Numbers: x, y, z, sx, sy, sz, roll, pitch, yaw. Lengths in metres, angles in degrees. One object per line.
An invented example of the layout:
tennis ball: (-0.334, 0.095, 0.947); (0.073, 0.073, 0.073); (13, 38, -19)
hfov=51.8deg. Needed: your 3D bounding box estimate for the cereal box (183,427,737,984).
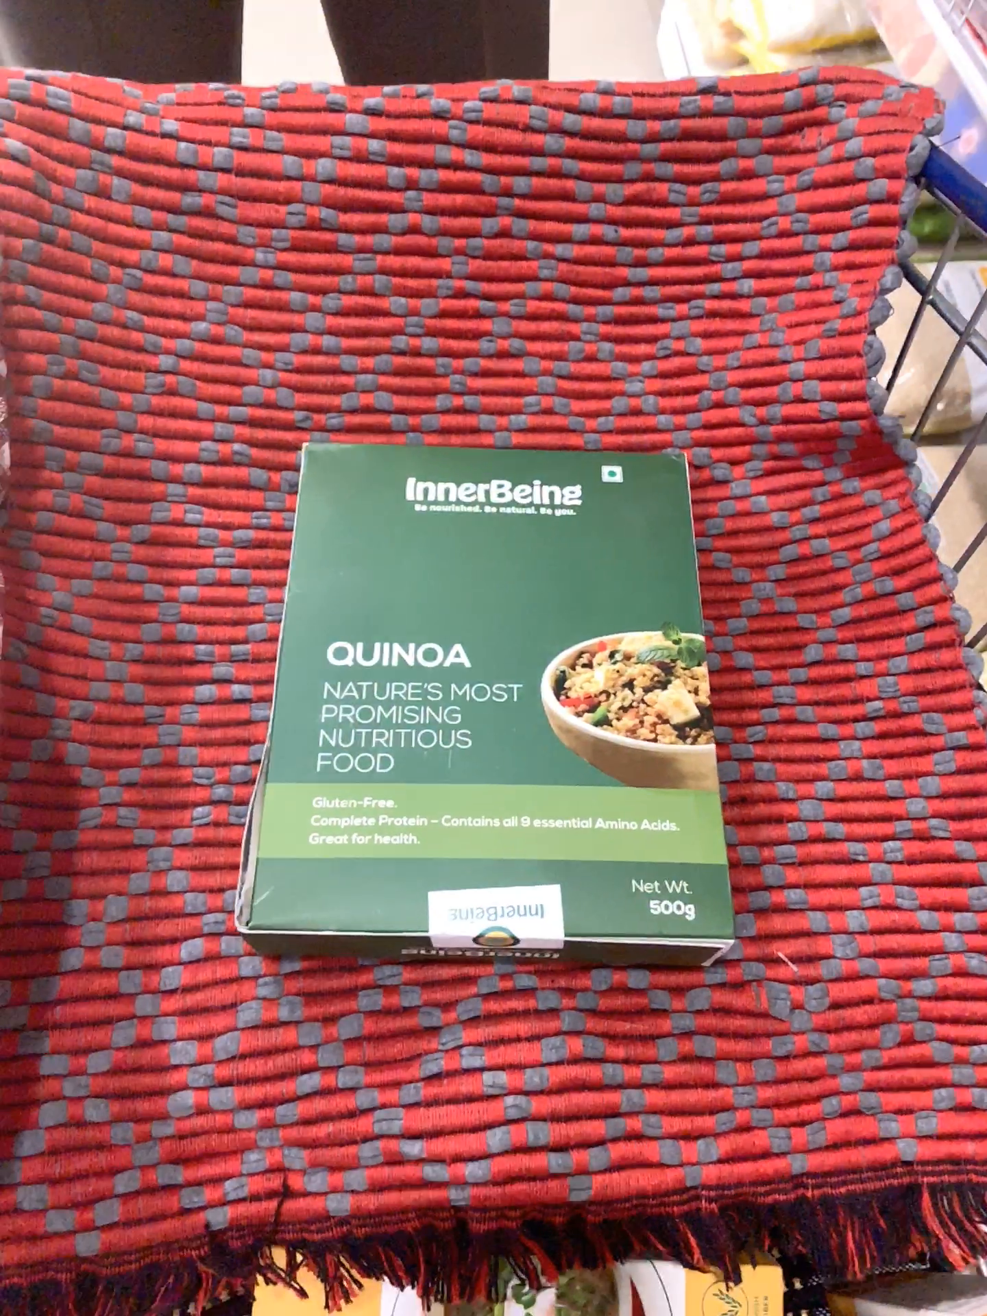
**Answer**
cereal box: (-0.008, 0.009, 0.333); (0.150, 0.040, 0.180); (0, 64, 0)
